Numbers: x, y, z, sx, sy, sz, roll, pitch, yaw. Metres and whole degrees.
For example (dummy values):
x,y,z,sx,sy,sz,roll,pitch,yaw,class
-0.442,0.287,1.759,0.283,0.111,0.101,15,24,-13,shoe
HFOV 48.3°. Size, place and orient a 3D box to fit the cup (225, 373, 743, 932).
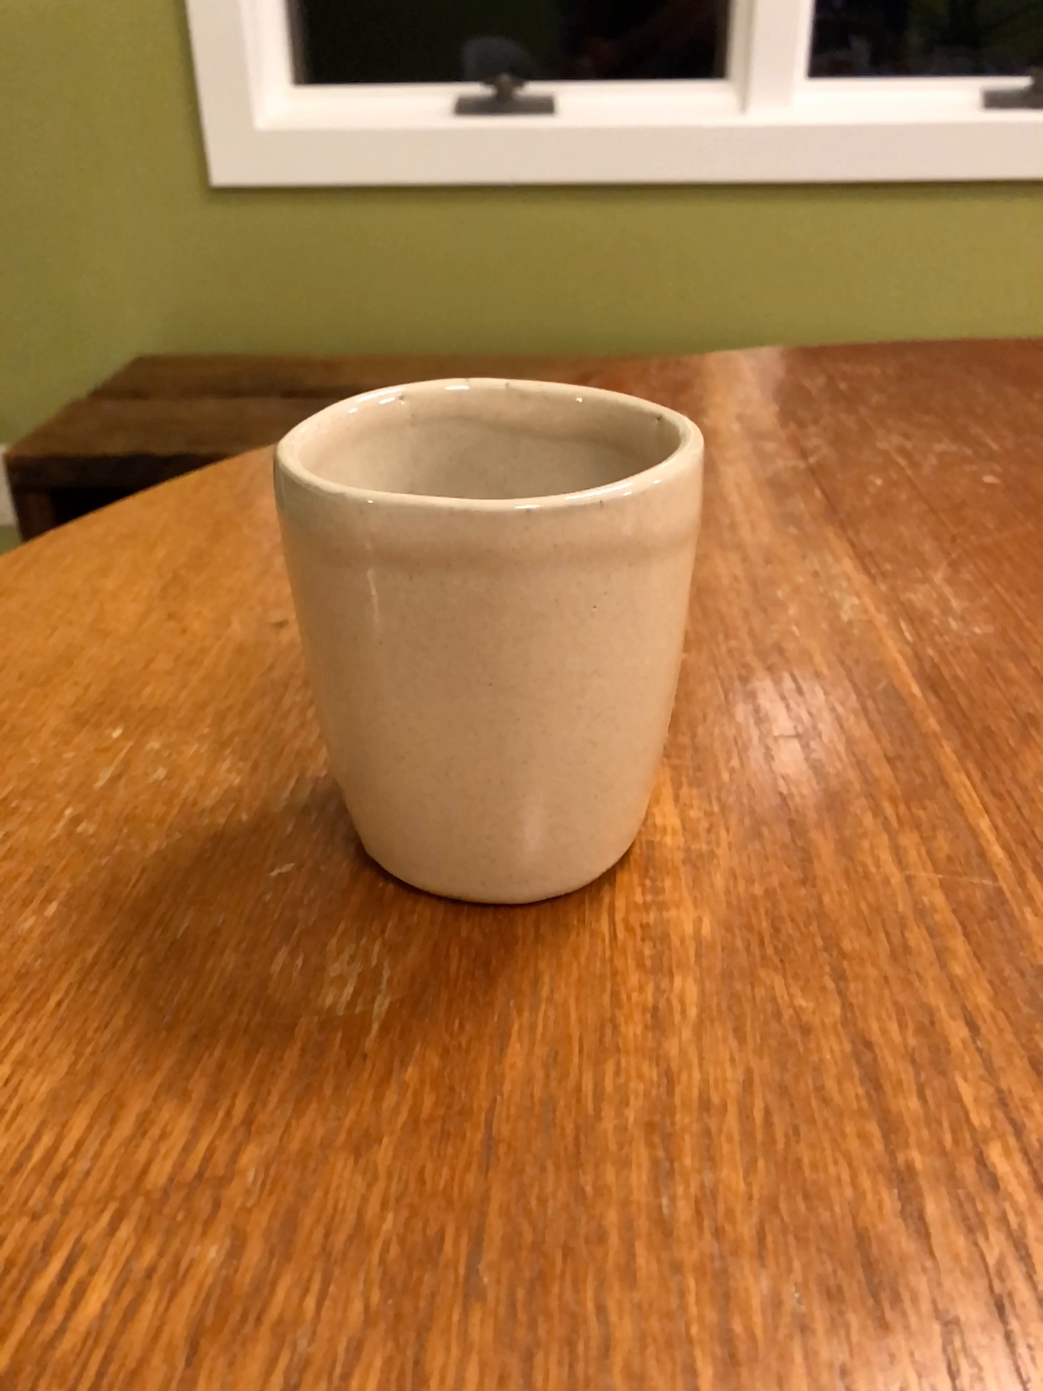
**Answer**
x,y,z,sx,sy,sz,roll,pitch,yaw,class
-0.007,-0.013,0.245,0.084,0.086,0.083,-1,29,0,cup
